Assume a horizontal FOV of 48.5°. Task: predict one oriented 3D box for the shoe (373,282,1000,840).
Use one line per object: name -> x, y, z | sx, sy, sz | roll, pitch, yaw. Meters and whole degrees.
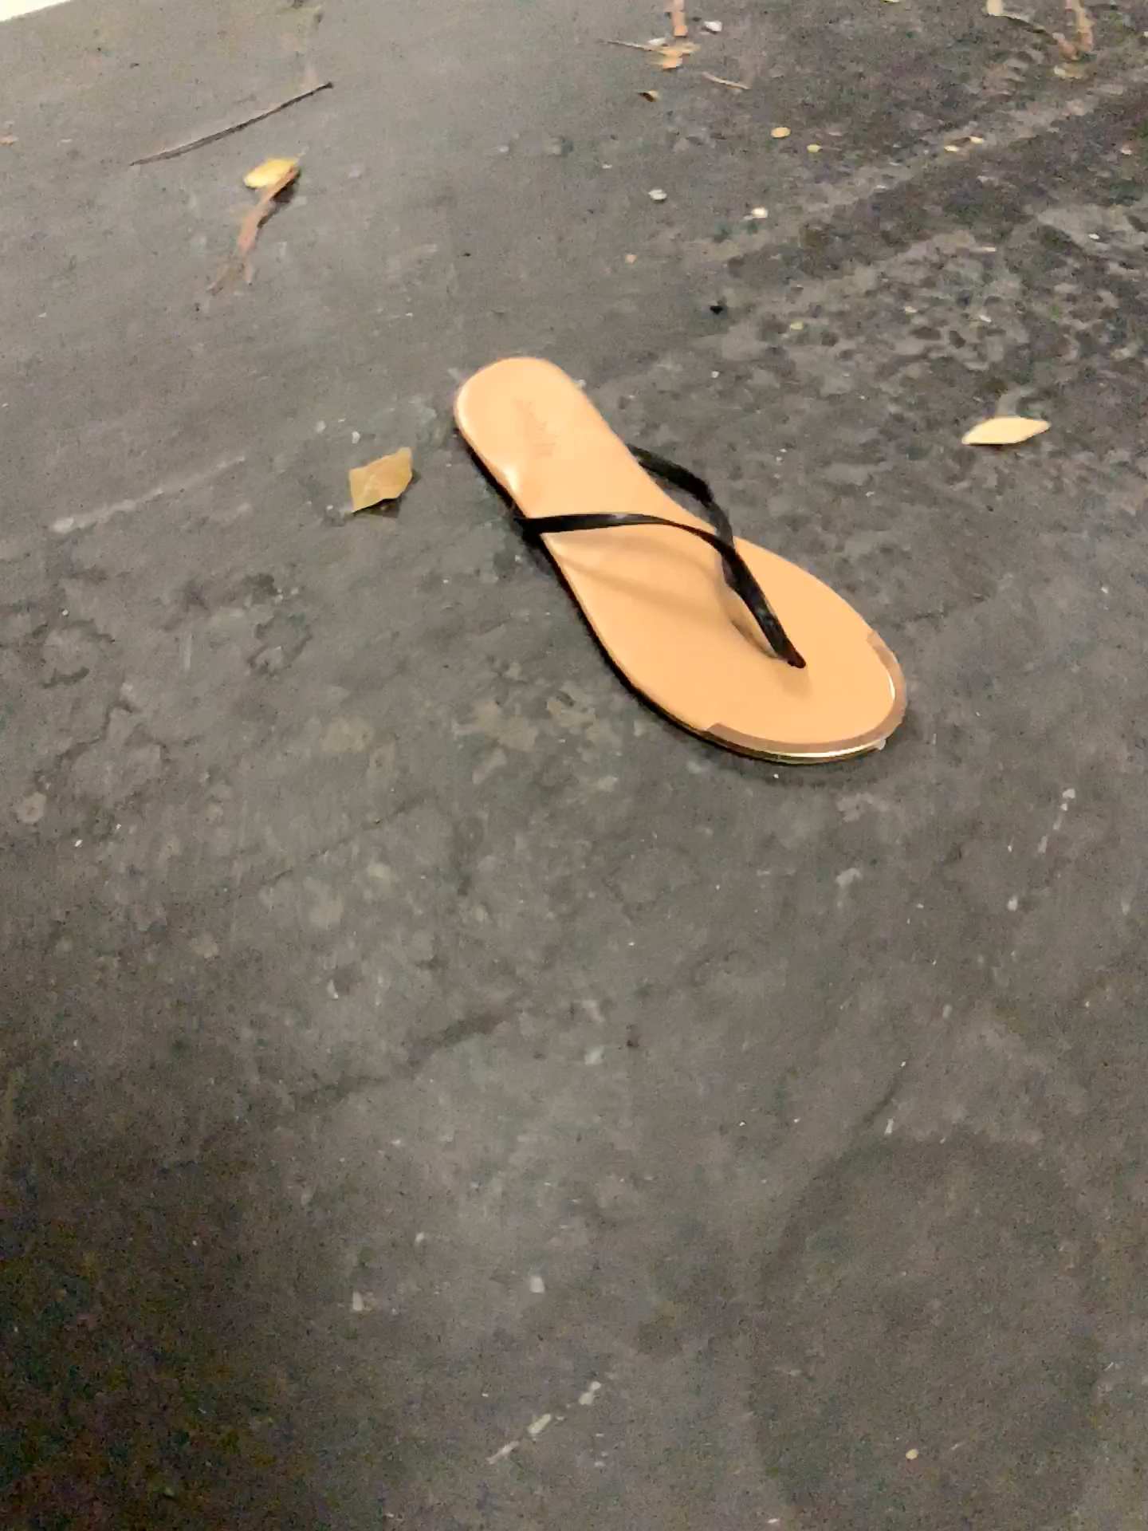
shoe -> 0.038, -0.105, 0.568 | 0.110, 0.030, 0.290 | -37, 63, -13
